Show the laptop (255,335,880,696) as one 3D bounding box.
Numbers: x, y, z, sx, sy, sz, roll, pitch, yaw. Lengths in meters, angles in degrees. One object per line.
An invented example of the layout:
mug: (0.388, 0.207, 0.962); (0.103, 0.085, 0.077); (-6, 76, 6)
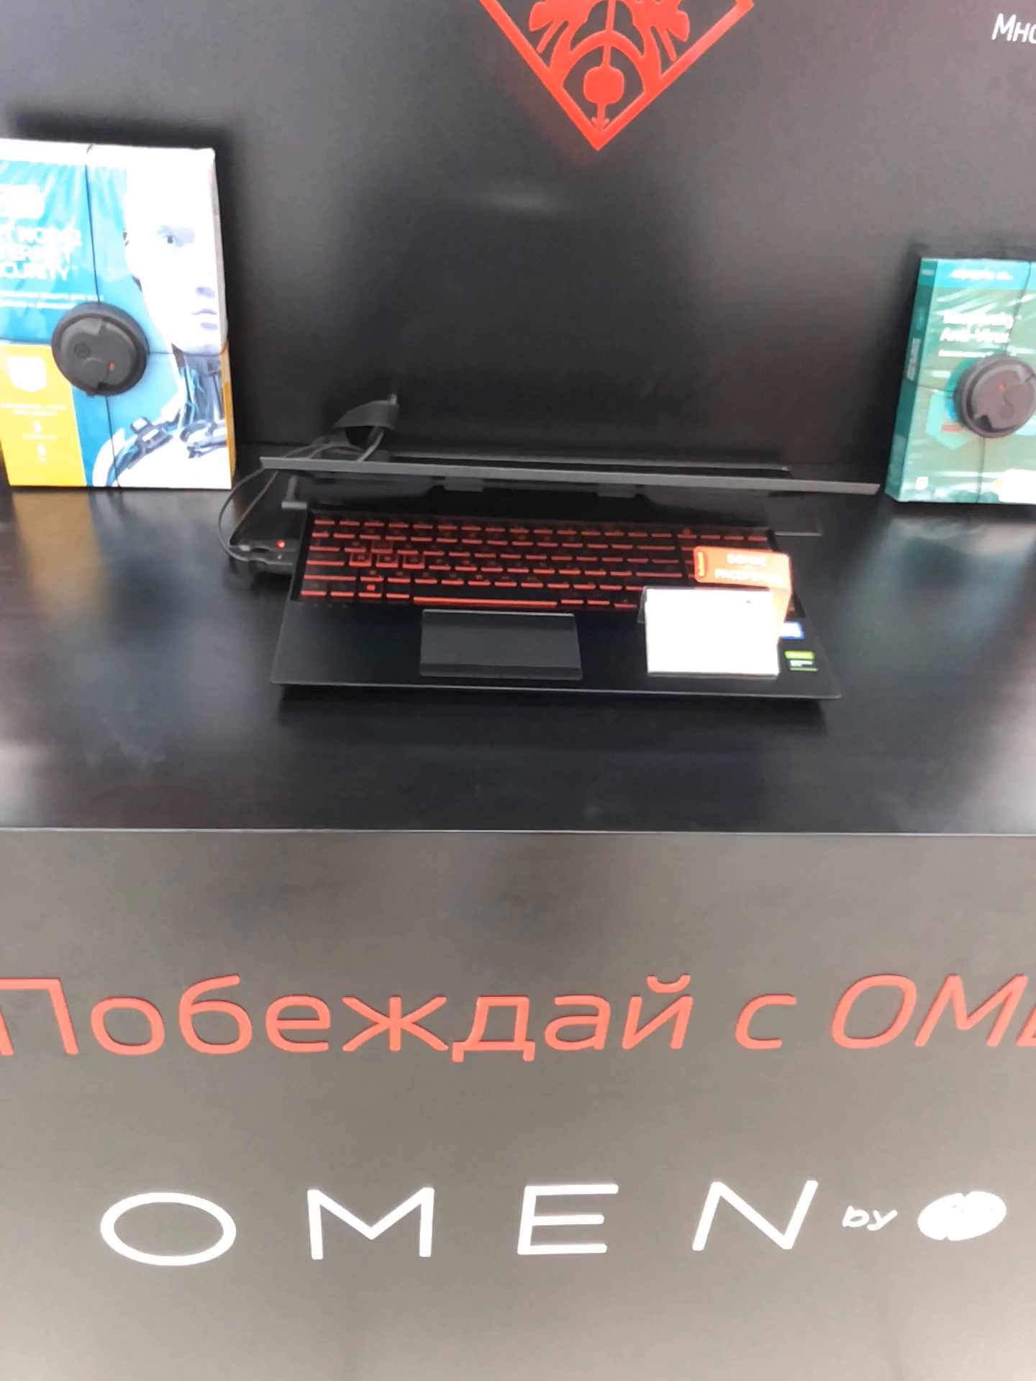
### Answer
laptop: (0.022, -0.126, 0.764); (0.350, 0.121, 0.232); (2, 39, -1)
